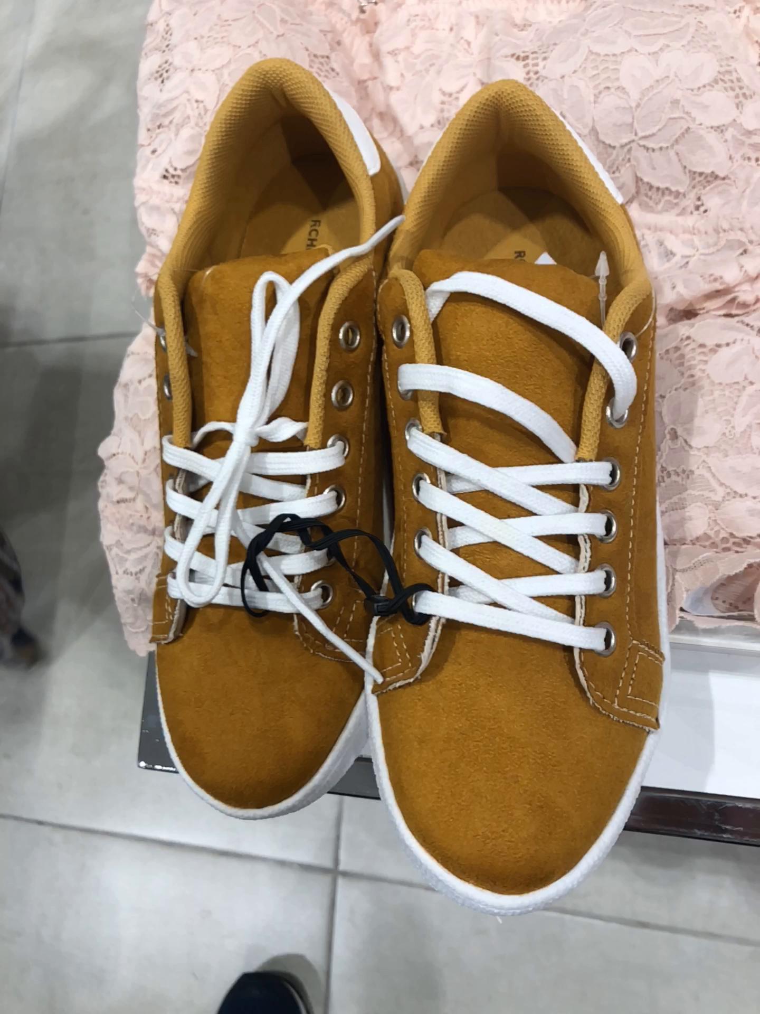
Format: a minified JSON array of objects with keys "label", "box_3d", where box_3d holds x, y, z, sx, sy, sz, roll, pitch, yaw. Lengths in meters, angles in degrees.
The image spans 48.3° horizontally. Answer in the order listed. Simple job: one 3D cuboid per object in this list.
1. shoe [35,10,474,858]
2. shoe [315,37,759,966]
[{"label":"shoe","box_3d":[-0.023,-0.025,0.279,0.090,0.100,0.240,4,75,6]},{"label":"shoe","box_3d":[0.049,-0.008,0.258,0.100,0.100,0.240,2,70,6]}]
